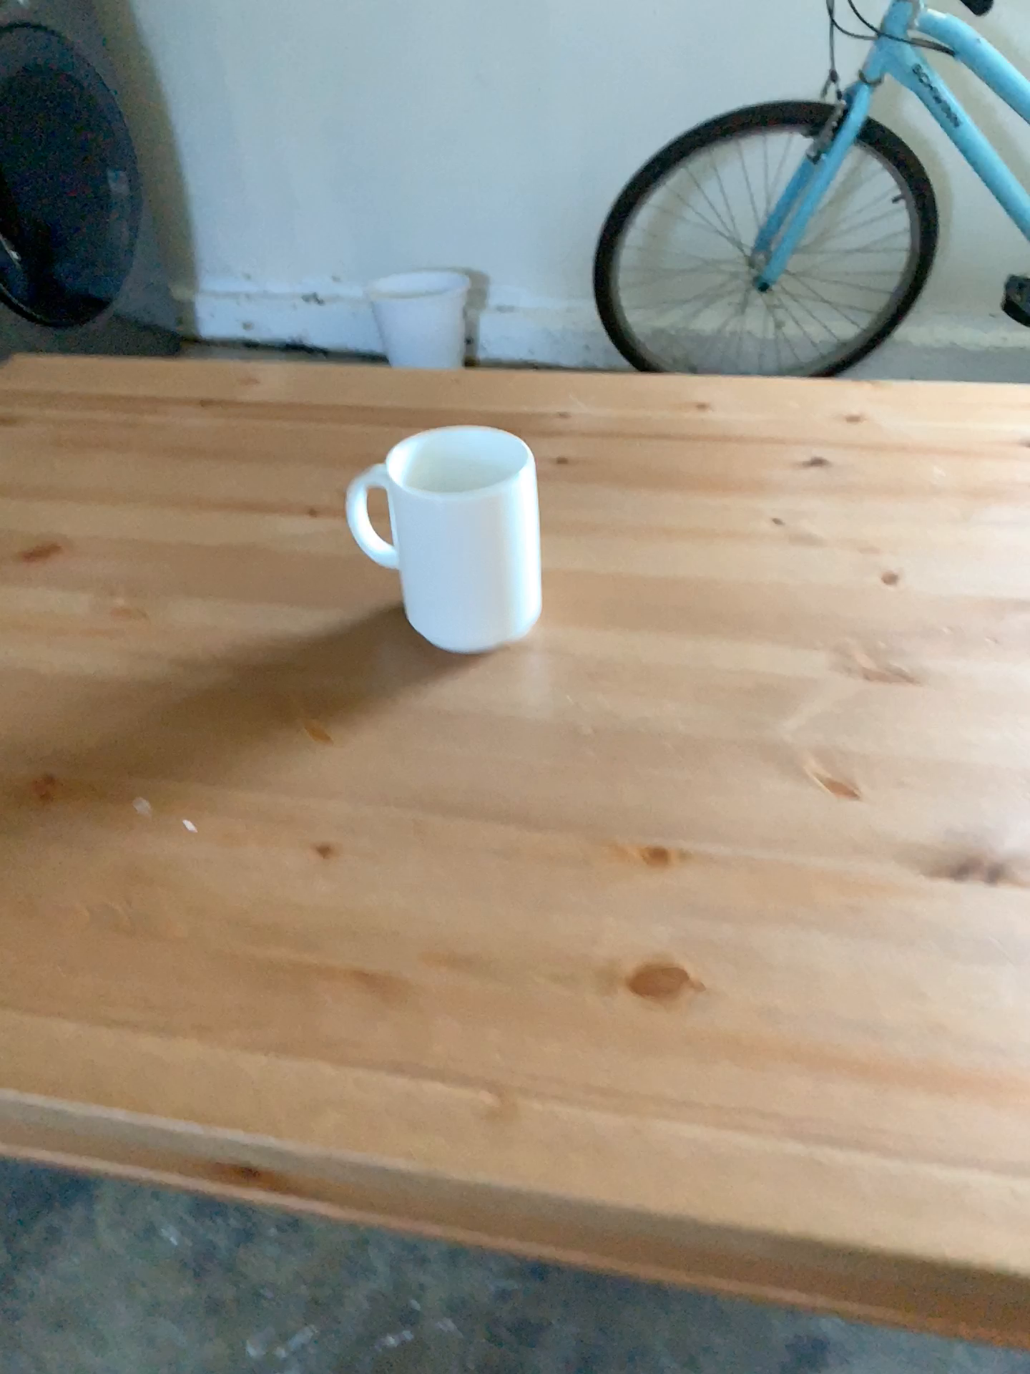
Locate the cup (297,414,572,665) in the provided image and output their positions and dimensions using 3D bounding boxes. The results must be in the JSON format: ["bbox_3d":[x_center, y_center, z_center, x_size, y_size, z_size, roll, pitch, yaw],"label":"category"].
[{"bbox_3d":[-0.043,-0.093,0.648,0.130,0.100,0.100,9,43,16],"label":"cup"}]
